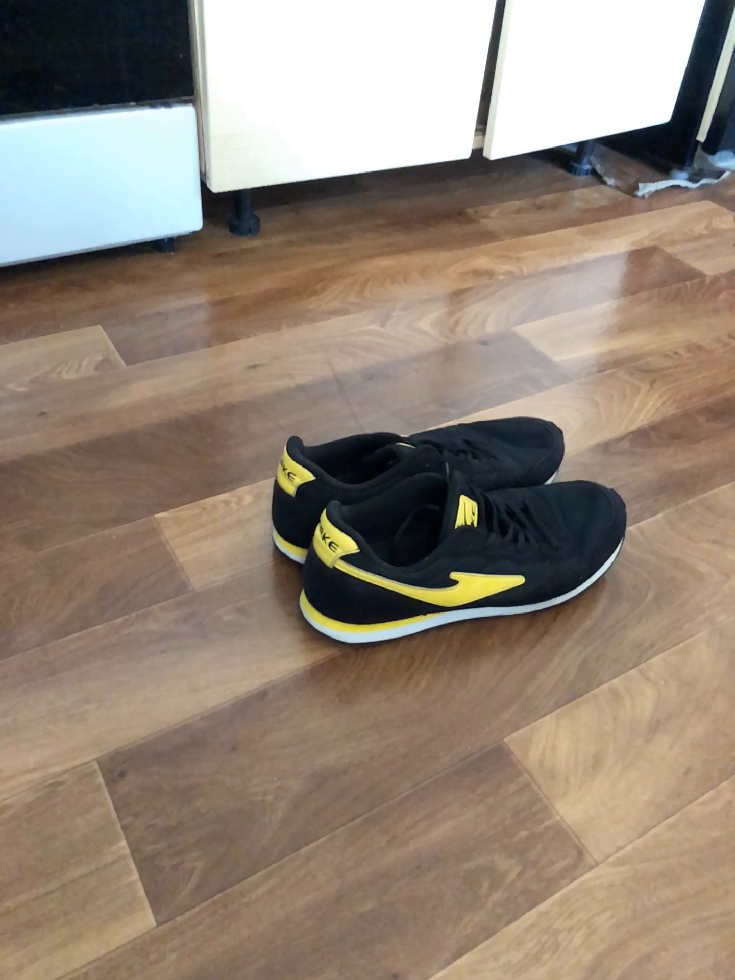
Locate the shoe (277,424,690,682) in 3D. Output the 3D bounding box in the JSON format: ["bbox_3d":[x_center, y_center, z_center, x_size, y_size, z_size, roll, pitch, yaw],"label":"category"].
[{"bbox_3d":[0.089,0.040,0.638,0.301,0.079,0.111,-14,45,-20],"label":"shoe"}]

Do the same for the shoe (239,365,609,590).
[{"bbox_3d":[0.050,-0.020,0.710,0.301,0.079,0.111,-15,45,-21],"label":"shoe"}]
